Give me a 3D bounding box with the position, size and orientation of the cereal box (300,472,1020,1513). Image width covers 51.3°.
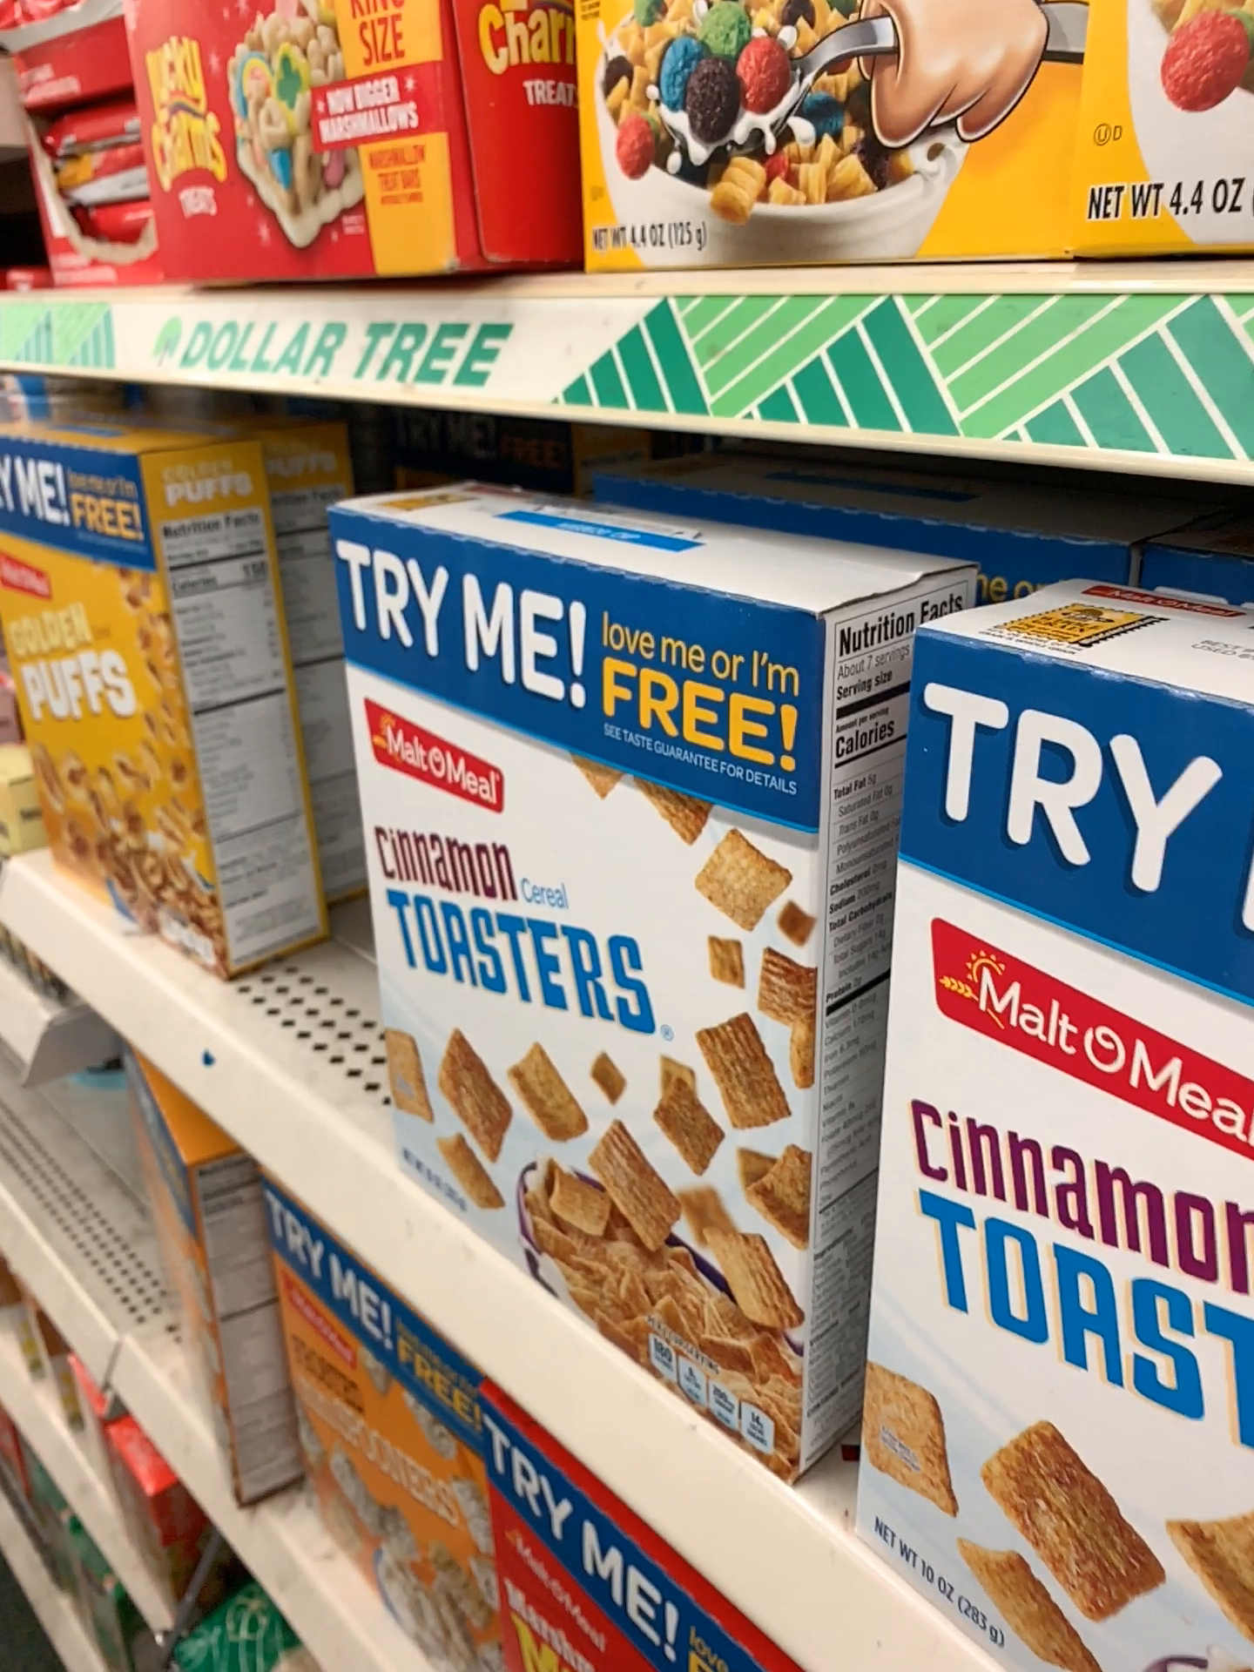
[{"bbox_3d":[-0.001,0.028,0.328,0.050,0.209,0.170,-23,33,-39],"label":"cereal box"}]
